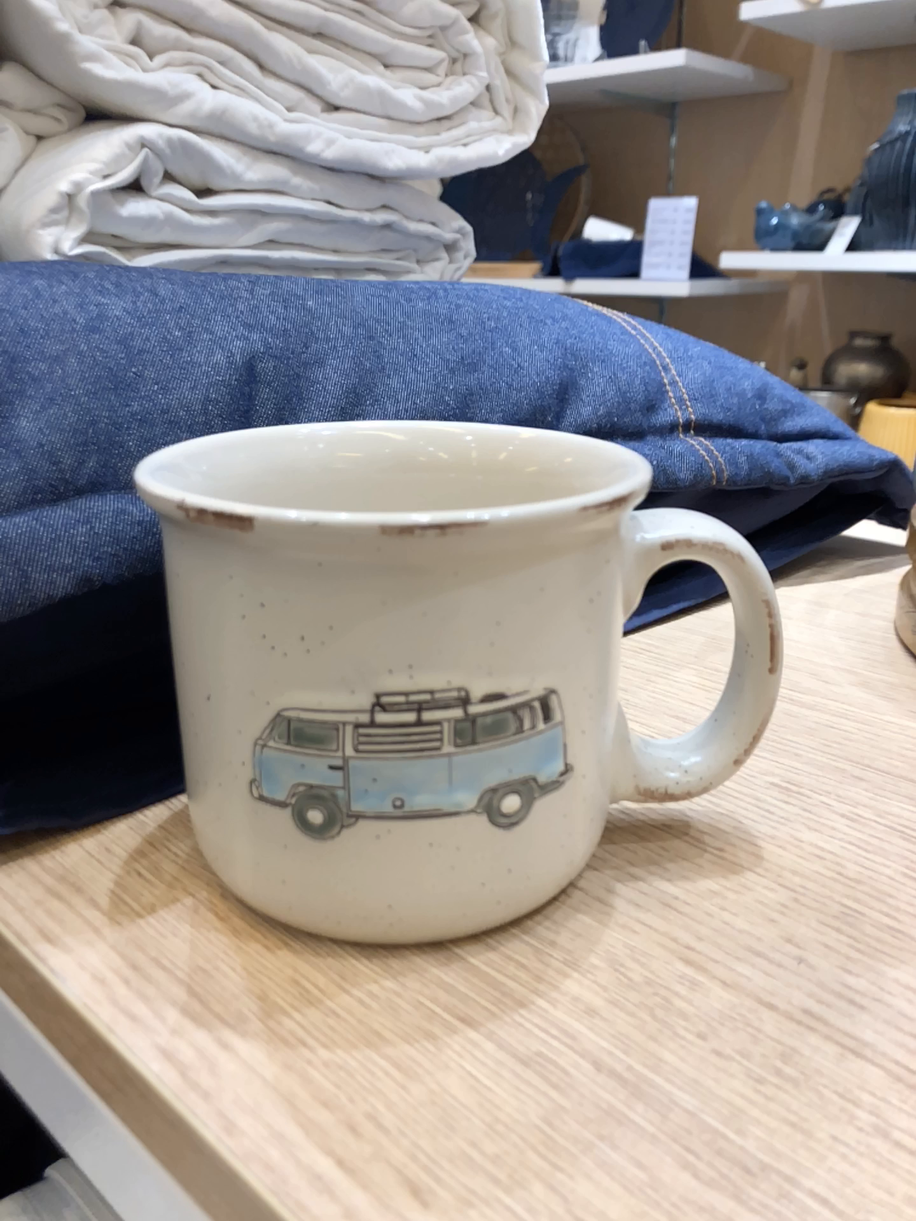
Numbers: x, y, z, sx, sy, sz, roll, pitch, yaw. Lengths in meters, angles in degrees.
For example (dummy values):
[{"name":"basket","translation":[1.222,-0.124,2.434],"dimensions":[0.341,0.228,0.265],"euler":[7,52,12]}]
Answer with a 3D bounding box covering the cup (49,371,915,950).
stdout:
[{"name":"cup","translation":[0.005,0.000,0.219],"dimensions":[0.140,0.089,0.101],"euler":[-1,19,-4]}]
